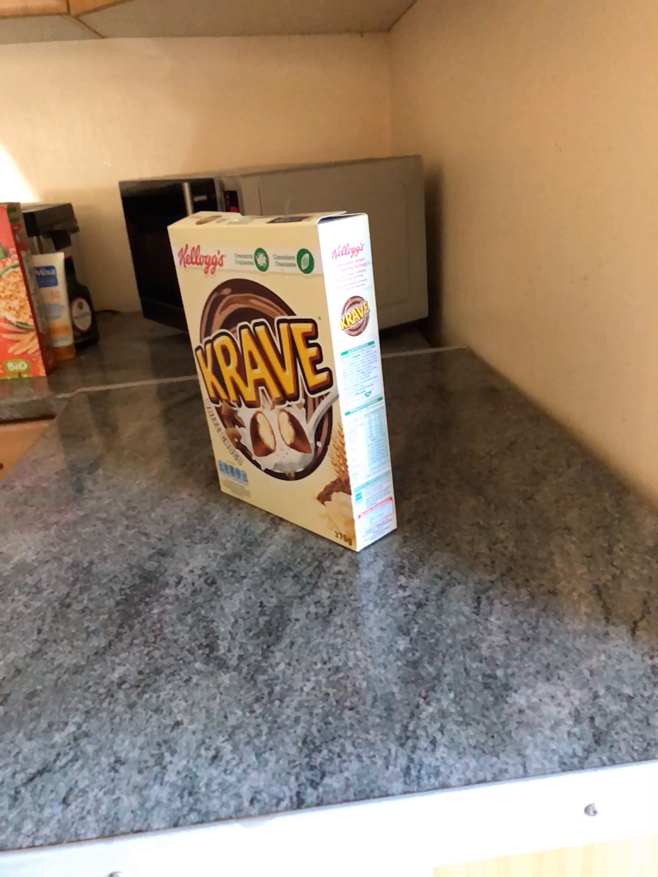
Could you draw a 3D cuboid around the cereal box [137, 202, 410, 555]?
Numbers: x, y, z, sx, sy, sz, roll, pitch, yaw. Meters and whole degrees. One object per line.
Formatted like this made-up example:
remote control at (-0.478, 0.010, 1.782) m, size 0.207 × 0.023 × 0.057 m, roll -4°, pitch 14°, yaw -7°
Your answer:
cereal box at (-0.046, -0.060, 0.596) m, size 0.070 × 0.249 × 0.210 m, roll -27°, pitch 31°, yaw -38°
